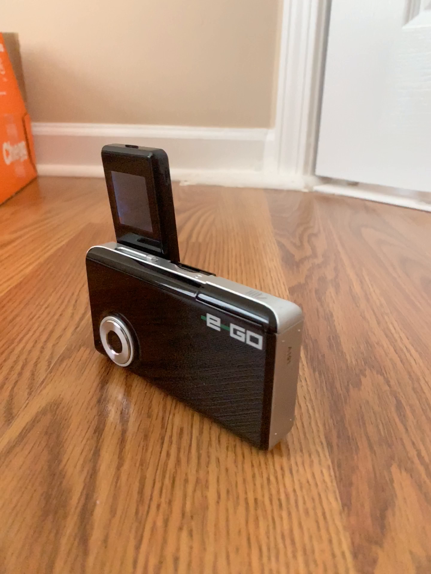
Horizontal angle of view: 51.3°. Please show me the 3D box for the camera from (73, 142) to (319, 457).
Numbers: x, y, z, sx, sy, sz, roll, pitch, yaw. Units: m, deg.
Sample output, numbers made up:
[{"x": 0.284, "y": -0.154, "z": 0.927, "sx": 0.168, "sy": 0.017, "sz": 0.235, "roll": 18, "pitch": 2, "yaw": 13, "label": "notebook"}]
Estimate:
[{"x": -0.017, "y": -0.003, "z": 0.202, "sx": 0.119, "sy": 0.111, "sz": 0.022, "roll": 20, "pitch": 28, "yaw": 38, "label": "camera"}]
